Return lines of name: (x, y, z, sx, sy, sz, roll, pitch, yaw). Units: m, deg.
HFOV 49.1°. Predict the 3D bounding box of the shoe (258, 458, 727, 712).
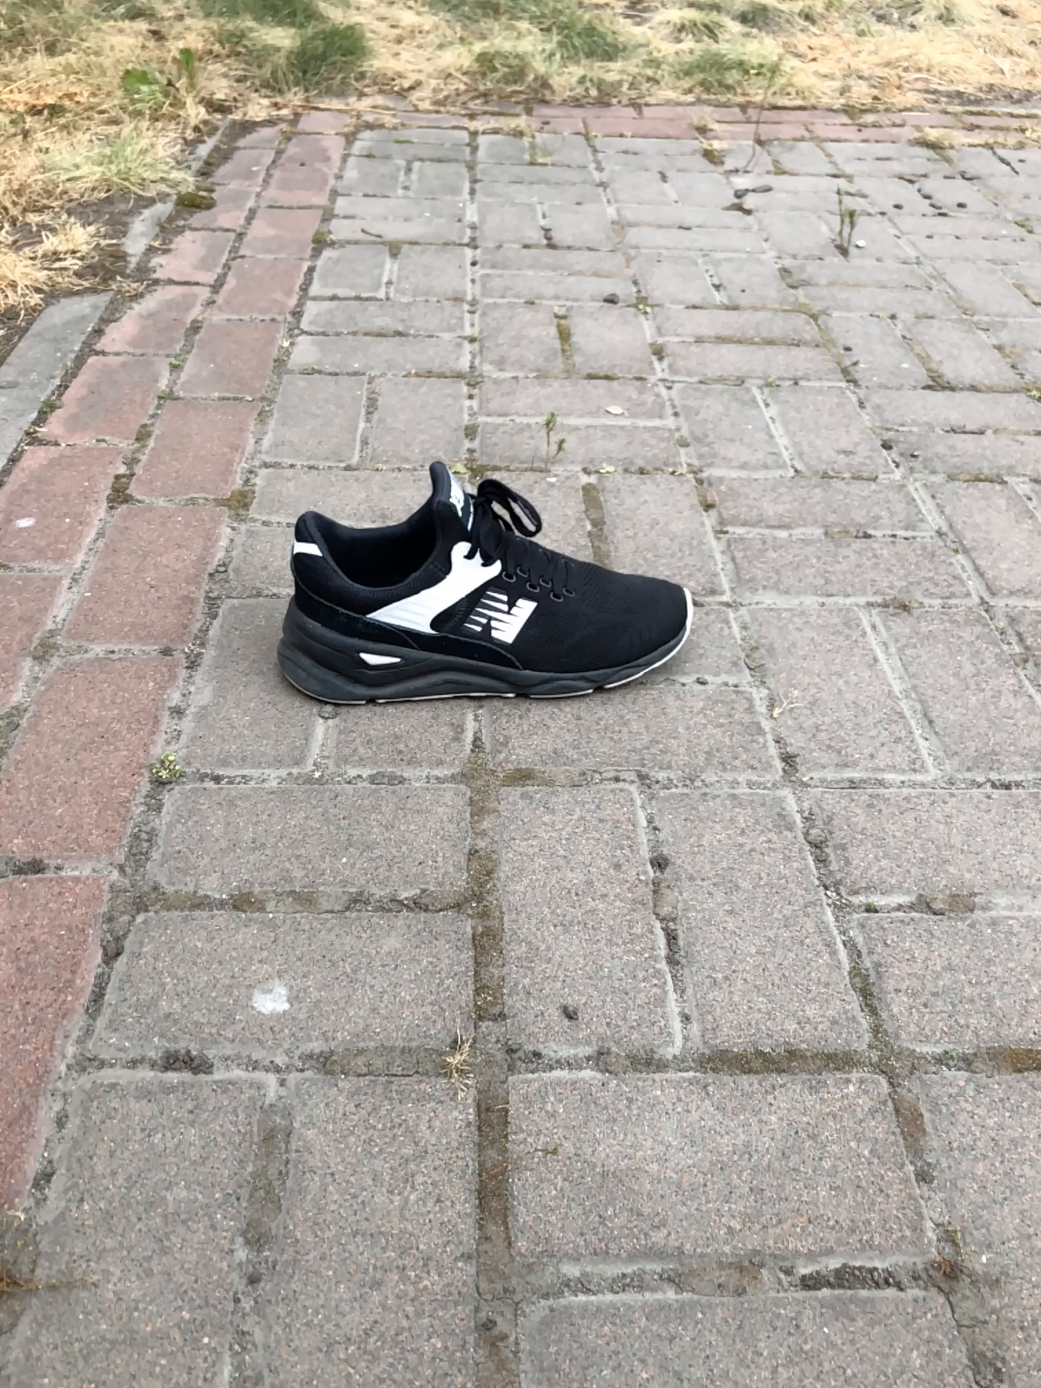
shoe: (-0.022, -0.074, 0.757, 0.280, 0.129, 0.101, -1, 39, -7)
